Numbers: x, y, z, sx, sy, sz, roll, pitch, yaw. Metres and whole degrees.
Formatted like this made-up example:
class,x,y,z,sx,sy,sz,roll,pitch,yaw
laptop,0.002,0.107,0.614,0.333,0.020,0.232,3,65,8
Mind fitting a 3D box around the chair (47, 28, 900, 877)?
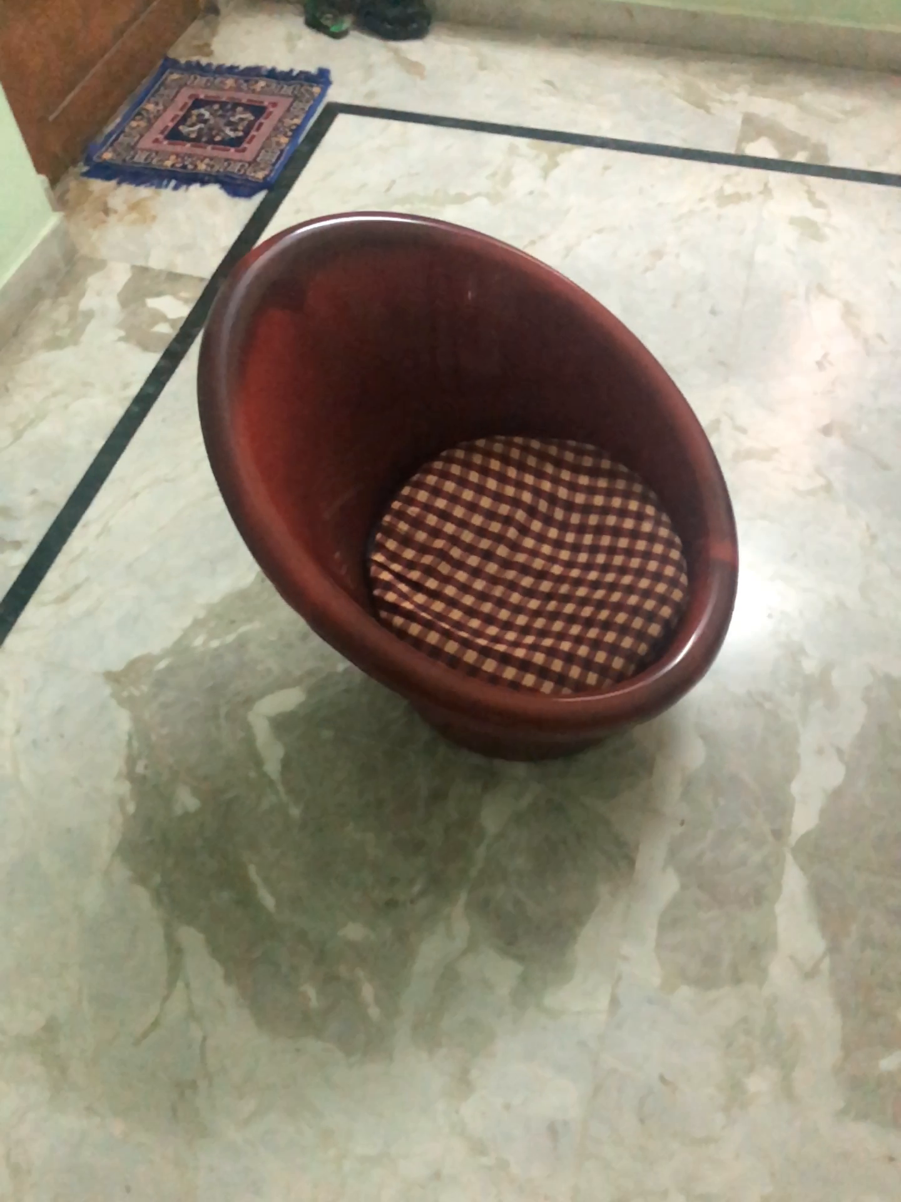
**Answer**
class,x,y,z,sx,sy,sz,roll,pitch,yaw
chair,0.078,-0.193,1.196,0.631,0.547,0.673,22,59,17
